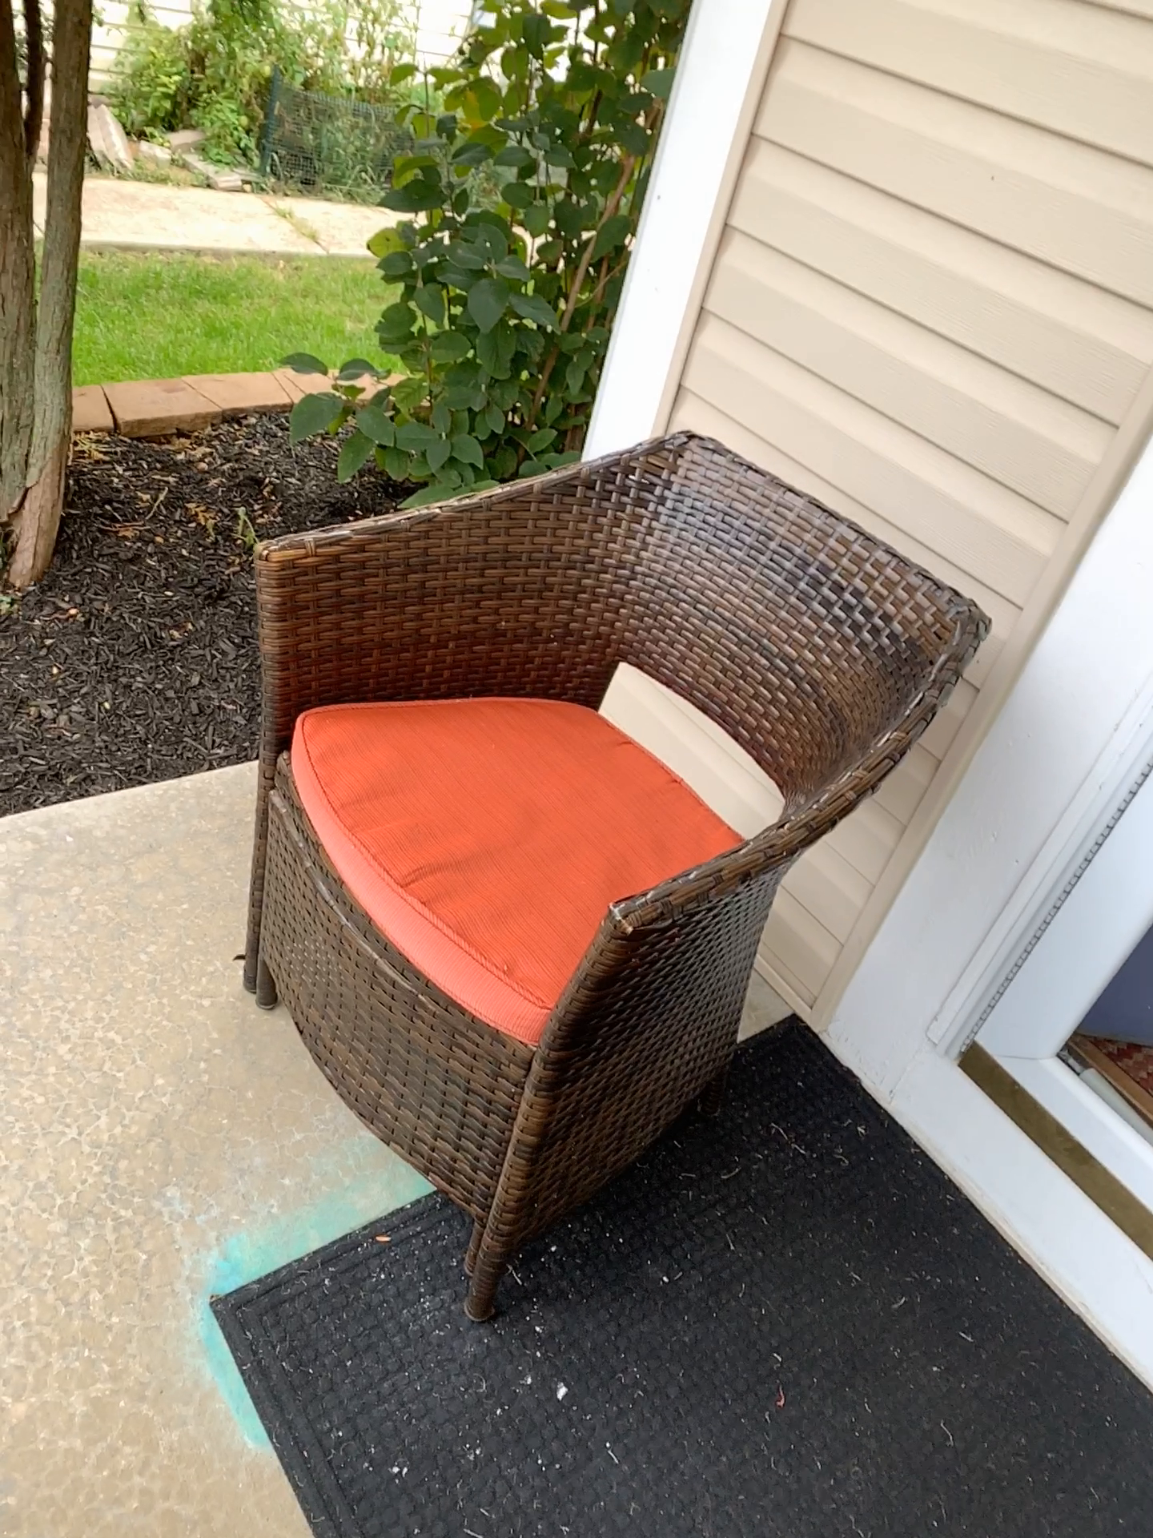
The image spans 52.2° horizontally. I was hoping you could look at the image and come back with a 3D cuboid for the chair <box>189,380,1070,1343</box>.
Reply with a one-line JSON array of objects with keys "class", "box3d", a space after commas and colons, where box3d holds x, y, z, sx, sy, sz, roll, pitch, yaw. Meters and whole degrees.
[{"class": "chair", "box3d": [-0.009, 0.053, 1.396, 0.607, 0.757, 0.644, -19, 49, -39]}]
